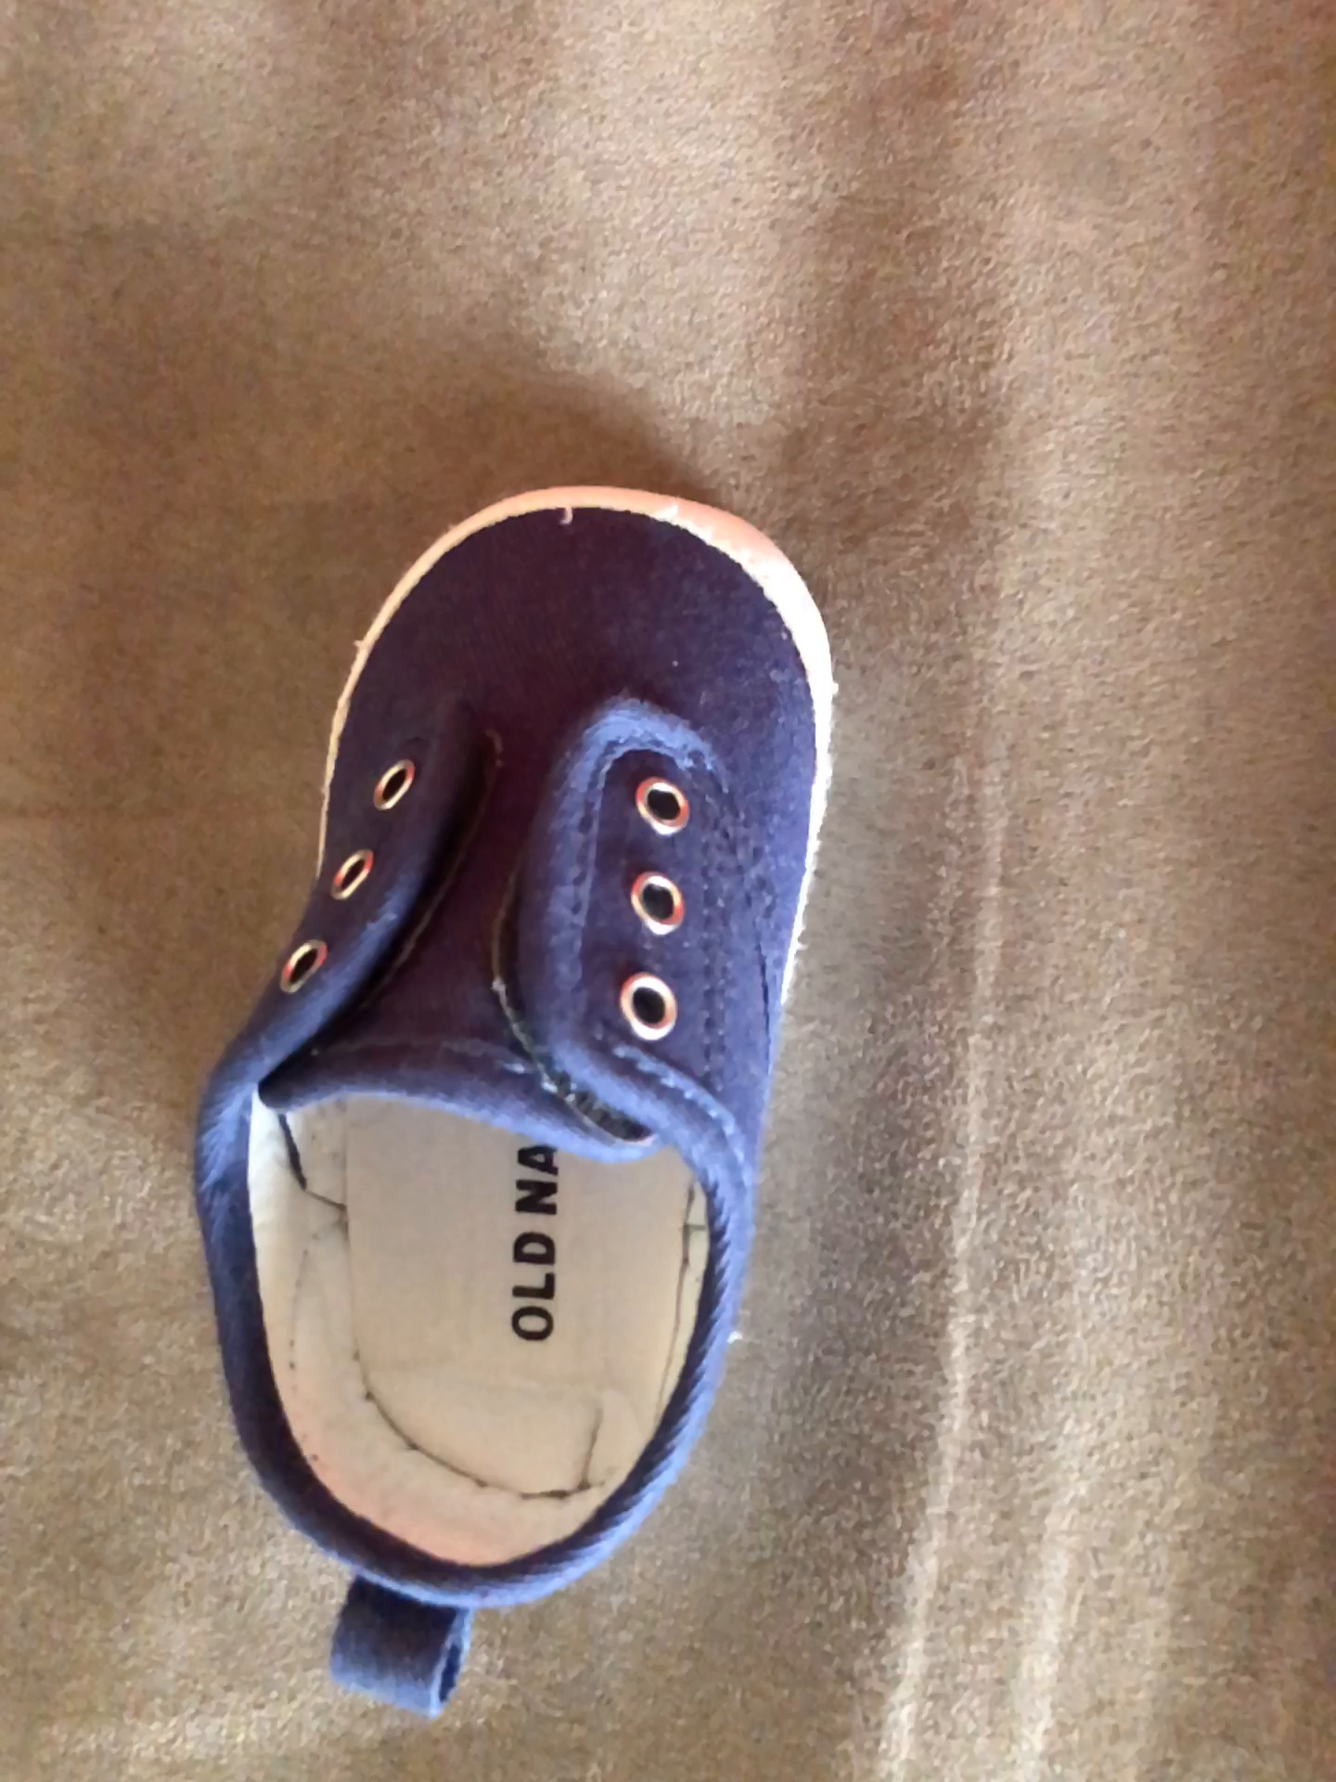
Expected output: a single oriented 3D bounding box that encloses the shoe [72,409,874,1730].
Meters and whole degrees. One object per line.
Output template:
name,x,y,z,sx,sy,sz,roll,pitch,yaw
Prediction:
shoe,-0.016,0.013,0.161,0.060,0.060,0.110,6,95,13
